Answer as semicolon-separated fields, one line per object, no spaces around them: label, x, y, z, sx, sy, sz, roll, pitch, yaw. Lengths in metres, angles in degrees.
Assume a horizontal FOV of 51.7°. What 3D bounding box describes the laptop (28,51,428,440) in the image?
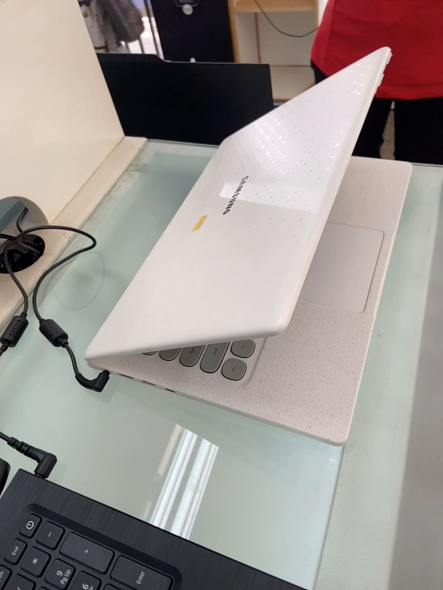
laptop;0.035;-0.076;0.387;0.206;0.108;0.313;13;54;20

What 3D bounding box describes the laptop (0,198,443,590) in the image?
laptop;-0.186;0.212;0.115;0.373;0.213;0.402;13;54;21
